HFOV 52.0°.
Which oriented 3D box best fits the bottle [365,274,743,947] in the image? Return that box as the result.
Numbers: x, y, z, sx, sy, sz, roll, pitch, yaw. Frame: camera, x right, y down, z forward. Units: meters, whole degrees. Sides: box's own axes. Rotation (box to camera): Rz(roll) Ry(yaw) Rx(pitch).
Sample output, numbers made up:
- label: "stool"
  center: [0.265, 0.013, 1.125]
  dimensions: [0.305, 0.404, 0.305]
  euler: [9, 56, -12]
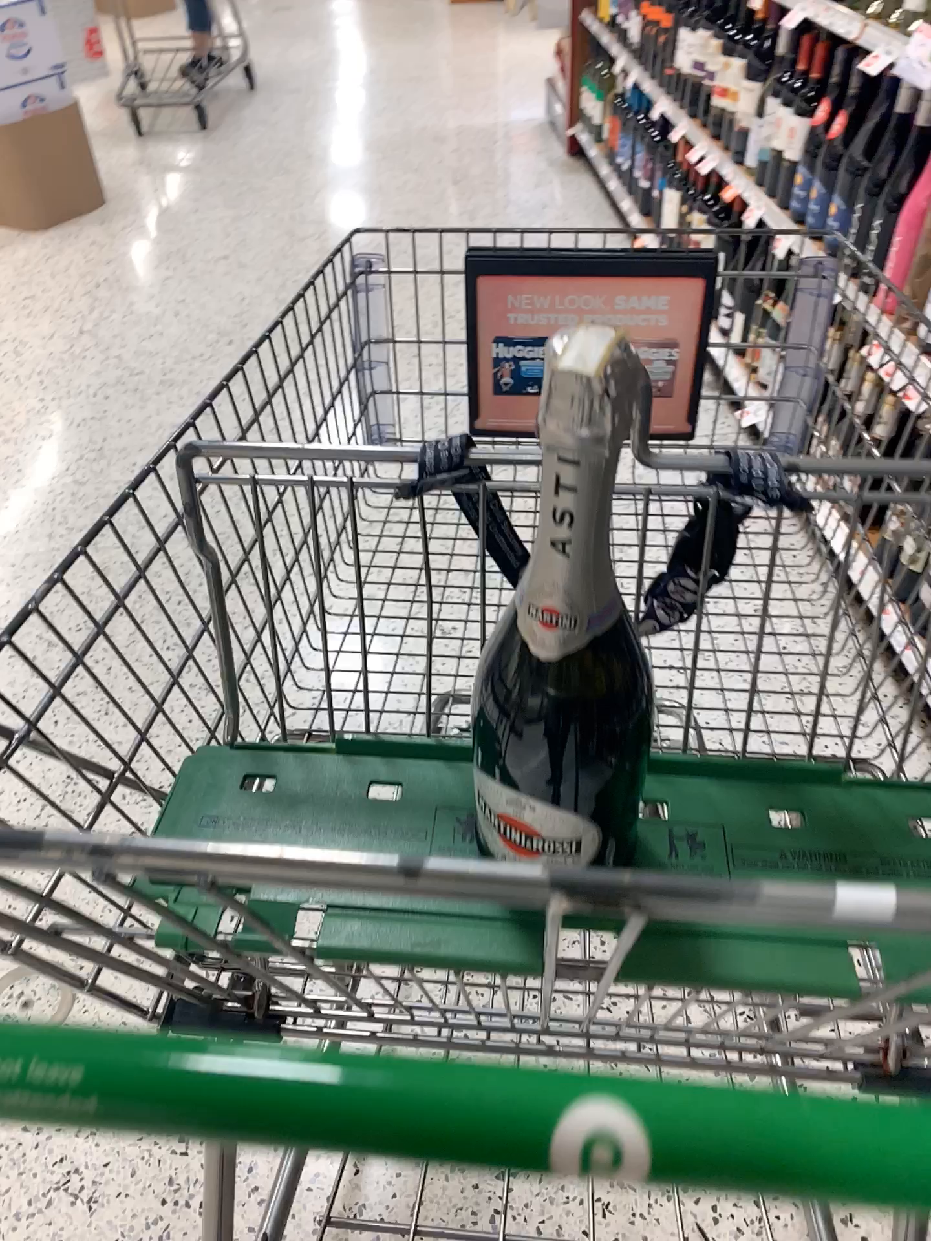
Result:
- label: "bottle"
  center: [0.039, 0.011, 0.436]
  dimensions: [0.100, 0.287, 0.101]
  euler: [-2, 41, 1]
